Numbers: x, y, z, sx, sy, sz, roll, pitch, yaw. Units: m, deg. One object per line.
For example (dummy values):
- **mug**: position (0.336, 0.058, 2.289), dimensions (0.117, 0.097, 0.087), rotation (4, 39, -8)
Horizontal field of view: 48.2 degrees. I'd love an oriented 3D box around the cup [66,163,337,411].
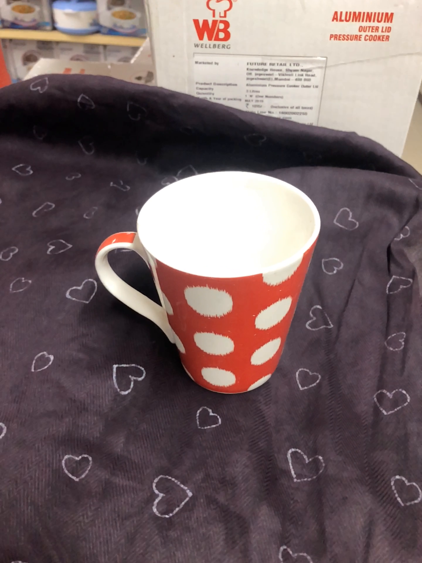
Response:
- **cup**: position (-0.006, 0.003, 0.259), dimensions (0.110, 0.099, 0.091), rotation (0, 42, -3)
